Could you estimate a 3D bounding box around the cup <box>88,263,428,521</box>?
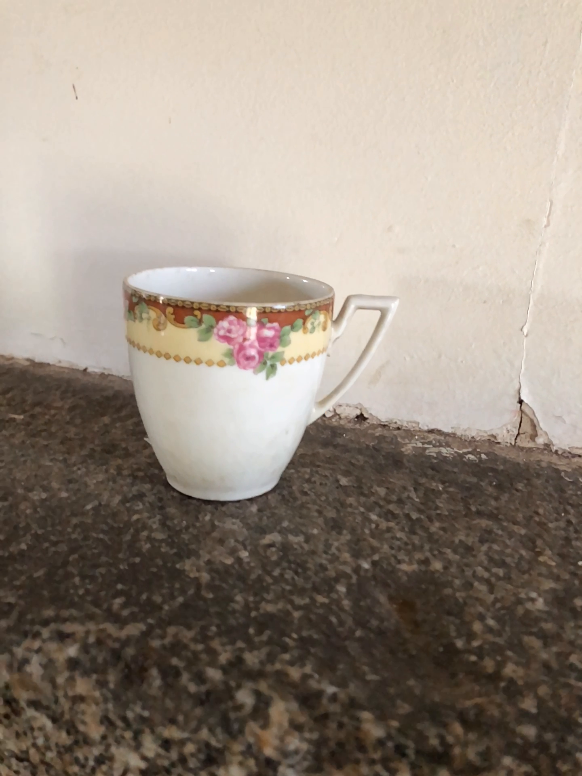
[{"bbox_3d":[-0.008,-0.004,0.213,0.090,0.060,0.070,3,19,3],"label":"cup"}]
